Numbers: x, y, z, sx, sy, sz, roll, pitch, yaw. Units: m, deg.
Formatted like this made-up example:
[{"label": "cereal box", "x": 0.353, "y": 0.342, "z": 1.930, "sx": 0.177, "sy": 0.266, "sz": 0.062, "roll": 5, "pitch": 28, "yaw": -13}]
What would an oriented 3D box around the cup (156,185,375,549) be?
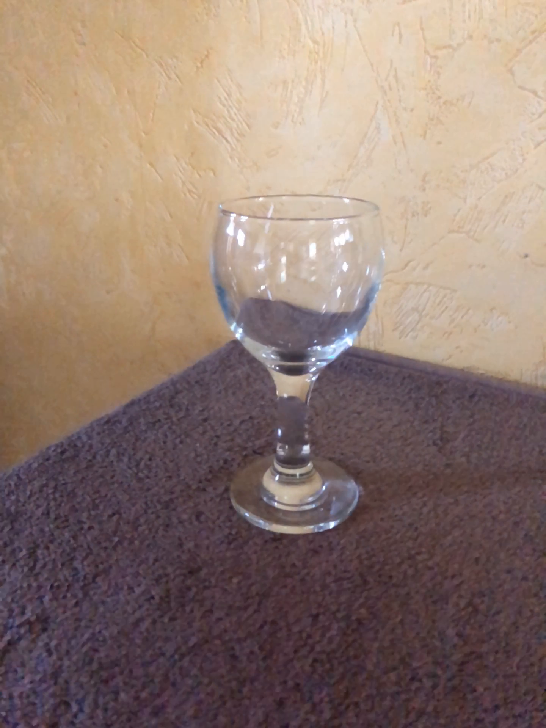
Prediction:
[{"label": "cup", "x": 0.001, "y": -0.002, "z": 0.248, "sx": 0.070, "sy": 0.129, "sz": 0.070, "roll": 0, "pitch": 22, "yaw": 0}]
